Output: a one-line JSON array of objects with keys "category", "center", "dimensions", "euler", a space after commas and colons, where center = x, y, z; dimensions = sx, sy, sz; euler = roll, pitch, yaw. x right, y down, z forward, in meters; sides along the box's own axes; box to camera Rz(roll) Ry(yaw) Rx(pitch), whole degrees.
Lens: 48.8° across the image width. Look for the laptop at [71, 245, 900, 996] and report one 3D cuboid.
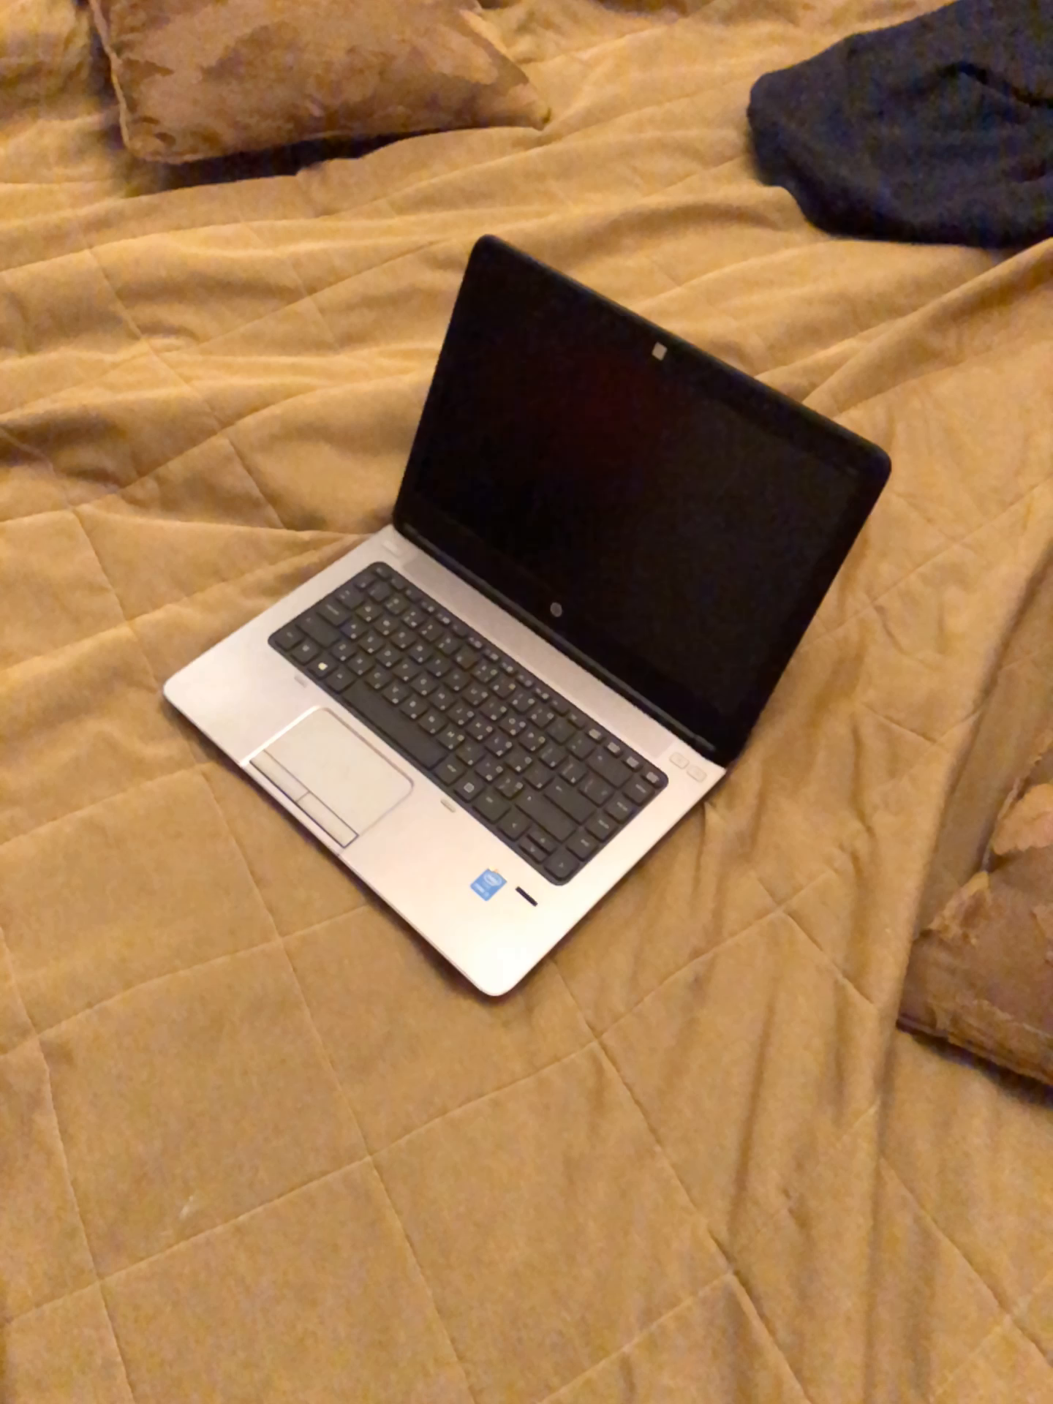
[{"category": "laptop", "center": [-0.022, -0.072, 0.743], "dimensions": [0.332, 0.189, 0.339], "euler": [37, 63, 25]}]
